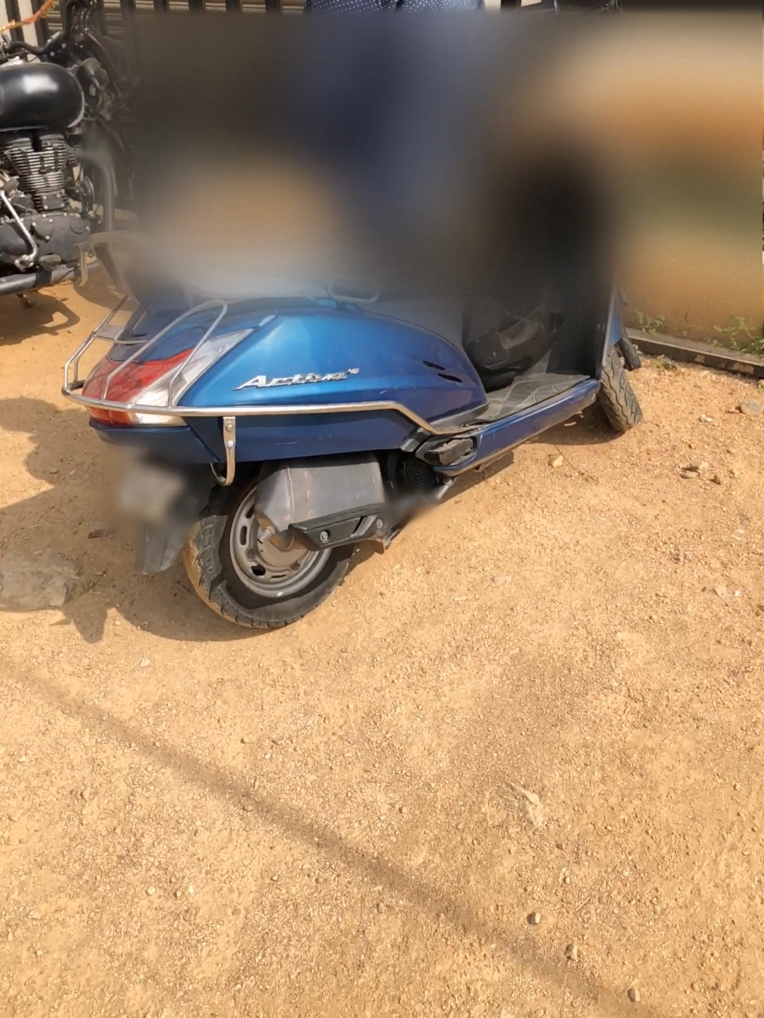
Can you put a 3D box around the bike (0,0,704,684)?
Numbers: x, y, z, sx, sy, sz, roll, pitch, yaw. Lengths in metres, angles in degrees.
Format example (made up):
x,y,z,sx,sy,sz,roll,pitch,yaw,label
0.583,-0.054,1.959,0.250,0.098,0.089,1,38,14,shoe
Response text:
x,y,z,sx,sy,sz,roll,pitch,yaw,label
0.038,-0.603,1.986,0.622,1.115,1.557,25,41,33,bike
